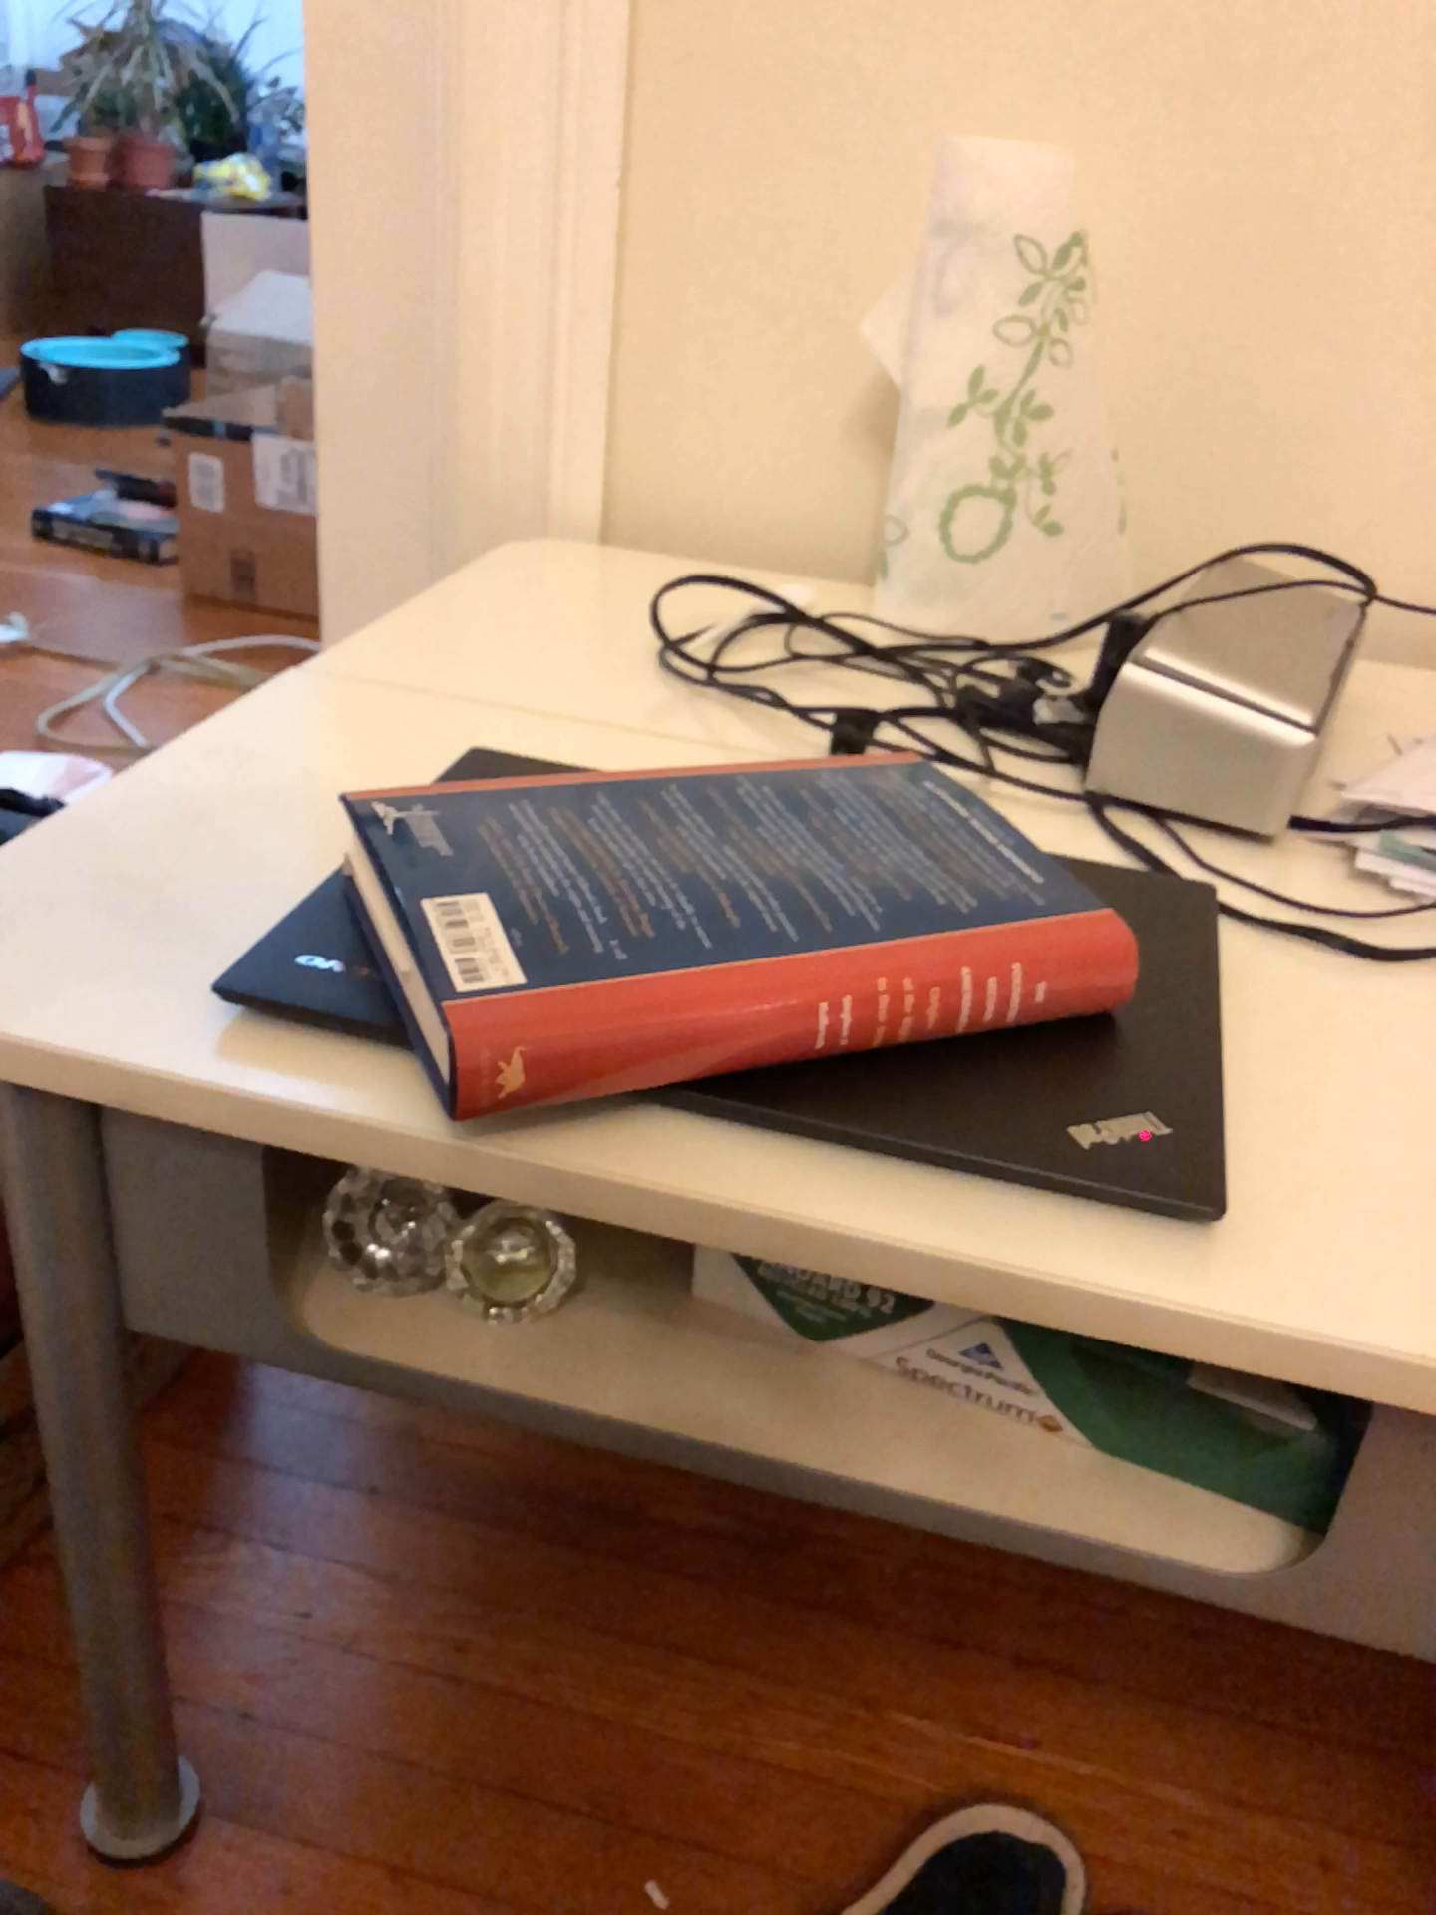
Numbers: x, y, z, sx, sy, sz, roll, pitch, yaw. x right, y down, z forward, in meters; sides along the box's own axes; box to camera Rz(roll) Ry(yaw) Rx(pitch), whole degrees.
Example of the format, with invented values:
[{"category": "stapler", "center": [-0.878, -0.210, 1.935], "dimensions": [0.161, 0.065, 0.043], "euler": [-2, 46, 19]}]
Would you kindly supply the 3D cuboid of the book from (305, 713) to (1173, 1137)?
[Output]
[{"category": "book", "center": [-0.001, -0.025, 0.535], "dimensions": [0.240, 0.040, 0.171], "euler": [-9, 30, -21]}]
